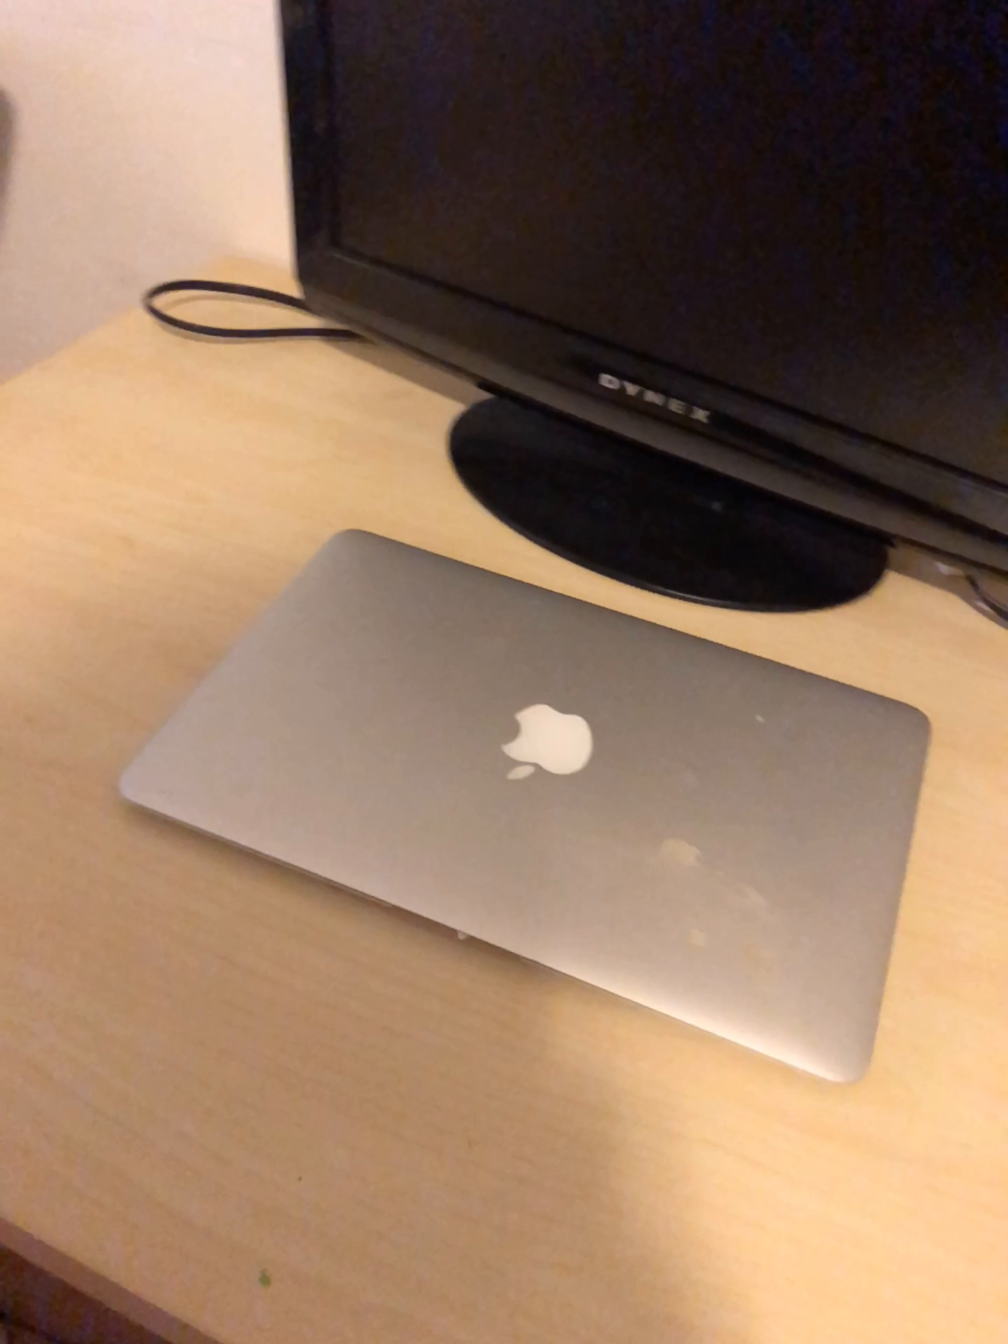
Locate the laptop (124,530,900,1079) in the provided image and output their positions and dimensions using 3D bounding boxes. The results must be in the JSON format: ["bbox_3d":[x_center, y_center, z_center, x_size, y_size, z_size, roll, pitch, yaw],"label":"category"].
[{"bbox_3d":[0.015,0.034,0.466,0.278,0.005,0.182,19,47,12],"label":"laptop"}]
